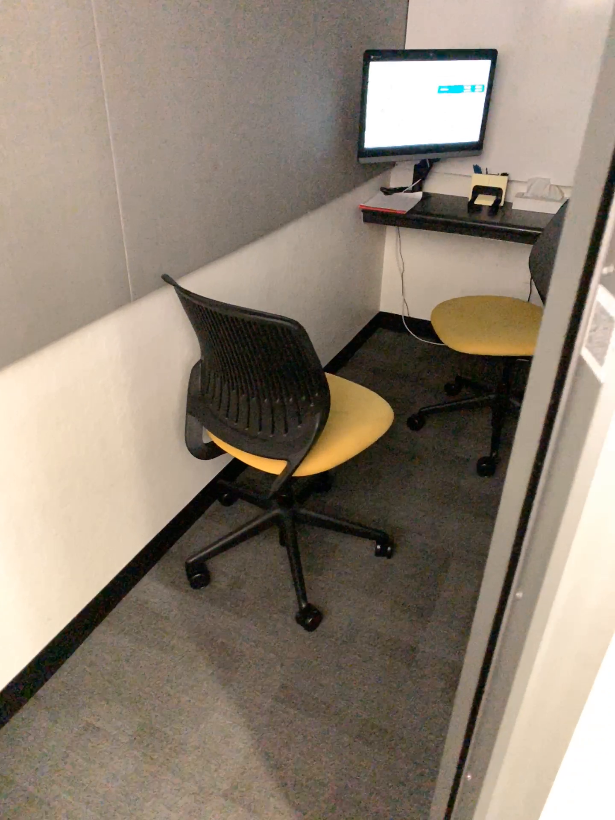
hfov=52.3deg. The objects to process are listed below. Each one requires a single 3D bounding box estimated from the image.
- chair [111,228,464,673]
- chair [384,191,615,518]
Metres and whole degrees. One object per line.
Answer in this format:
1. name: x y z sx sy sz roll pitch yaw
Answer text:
1. chair: -0.048 0.063 1.624 0.552 0.845 0.571 27 40 35
2. chair: 0.960 -0.289 2.681 0.950 1.034 0.926 -4 32 -9
